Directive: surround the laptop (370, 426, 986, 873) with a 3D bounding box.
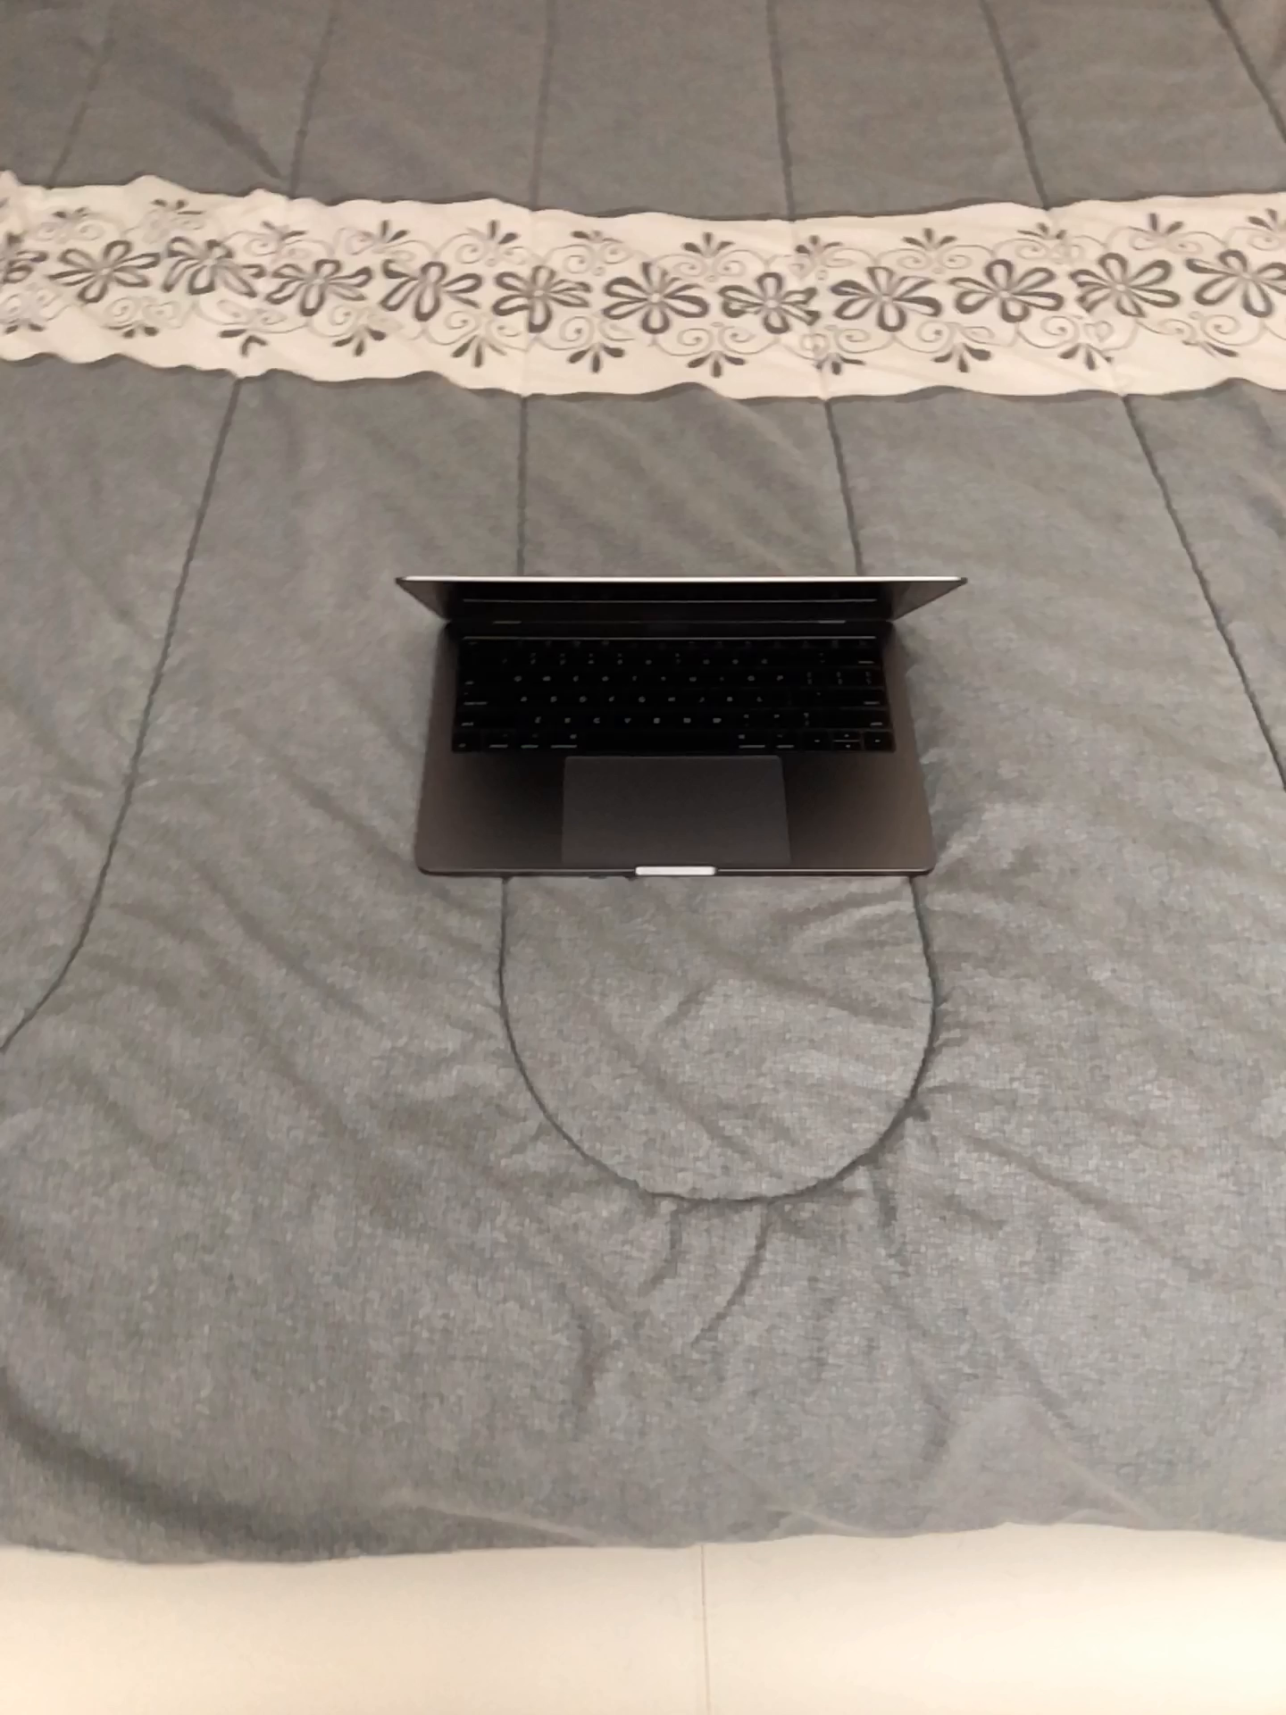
[{"bbox_3d":[0.015,-0.112,0.757,0.278,0.140,0.195,-1,52,1],"label":"laptop"}]
